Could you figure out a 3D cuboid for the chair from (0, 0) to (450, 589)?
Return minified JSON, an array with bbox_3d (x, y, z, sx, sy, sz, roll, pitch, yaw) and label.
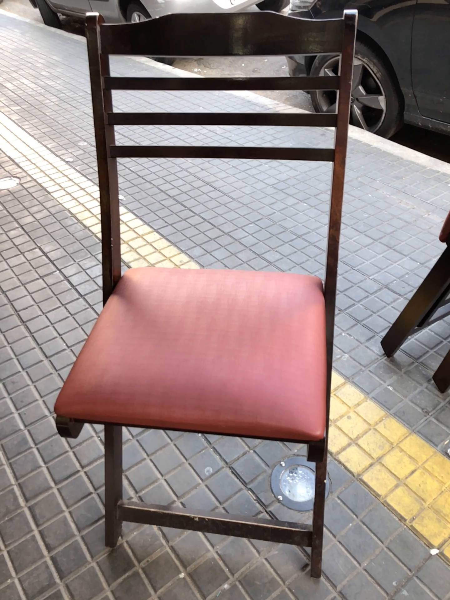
[{"bbox_3d":[-0.001,-0.003,0.782,0.510,0.844,0.483,3,41,9],"label":"chair"}]
